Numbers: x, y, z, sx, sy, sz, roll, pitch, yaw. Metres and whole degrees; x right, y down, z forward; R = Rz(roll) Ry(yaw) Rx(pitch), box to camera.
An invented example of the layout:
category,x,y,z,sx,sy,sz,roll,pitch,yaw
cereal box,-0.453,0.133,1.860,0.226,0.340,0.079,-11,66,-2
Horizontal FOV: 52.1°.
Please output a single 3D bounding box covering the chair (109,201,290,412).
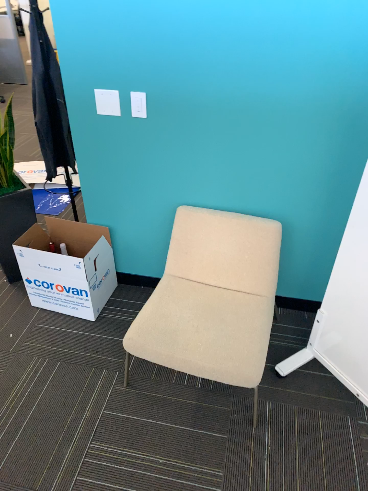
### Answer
category,x,y,z,sx,sy,sz,roll,pitch,yaw
chair,0.119,0.251,1.877,0.661,0.567,0.733,10,37,13
